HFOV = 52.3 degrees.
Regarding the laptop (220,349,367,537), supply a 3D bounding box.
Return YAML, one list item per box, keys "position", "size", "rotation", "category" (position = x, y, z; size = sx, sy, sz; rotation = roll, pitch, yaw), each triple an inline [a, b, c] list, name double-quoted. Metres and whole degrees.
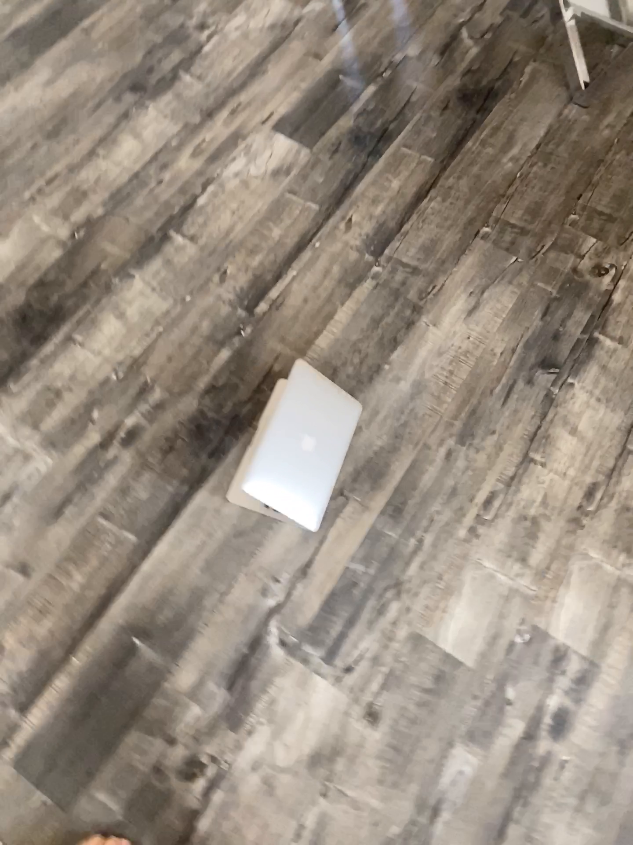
- position: [-0.036, 0.036, 1.169]
  size: [0.172, 0.113, 0.271]
  rotation: [19, 68, 7]
  category: "laptop"
